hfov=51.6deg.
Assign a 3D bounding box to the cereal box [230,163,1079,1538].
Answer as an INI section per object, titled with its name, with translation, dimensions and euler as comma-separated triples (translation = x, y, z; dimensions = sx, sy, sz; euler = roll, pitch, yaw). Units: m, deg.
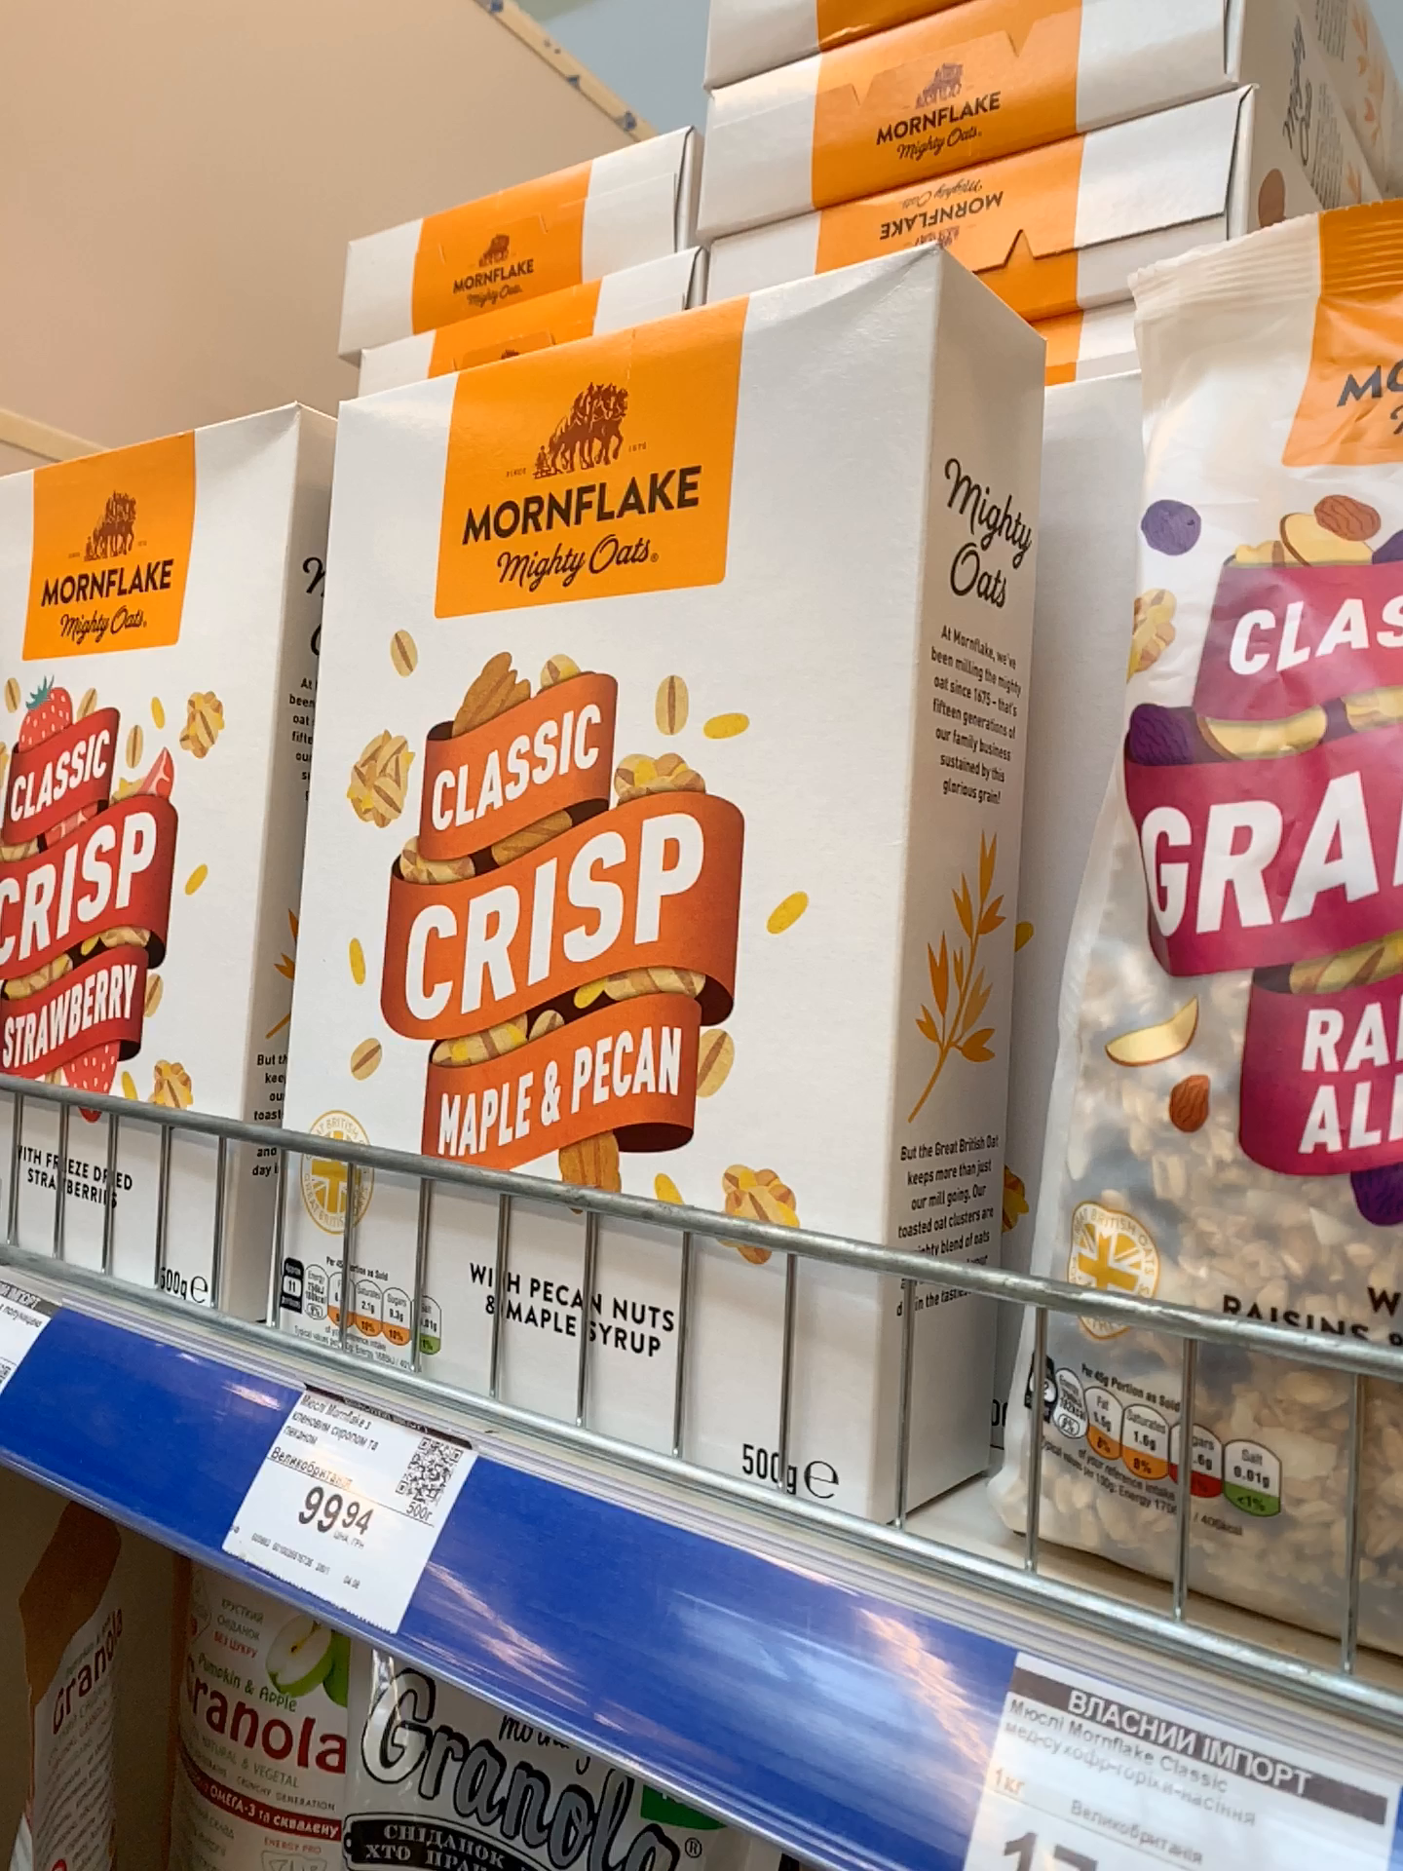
[cereal box]
translation = -0.020, -0.020, 0.344
dimensions = 0.190, 0.250, 0.060
euler = 2, -2, 37
